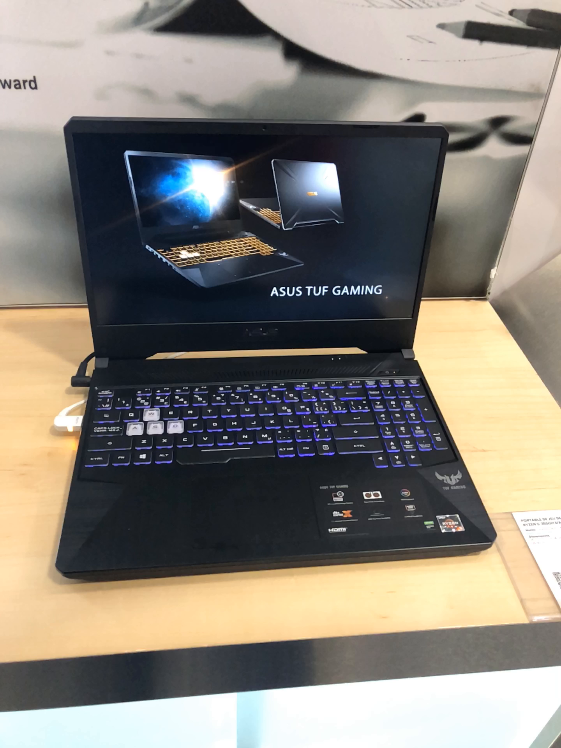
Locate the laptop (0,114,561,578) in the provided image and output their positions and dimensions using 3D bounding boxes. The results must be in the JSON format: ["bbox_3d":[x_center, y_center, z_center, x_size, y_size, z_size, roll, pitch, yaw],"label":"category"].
[{"bbox_3d":[-0.009,-0.046,0.535,0.358,0.245,0.310,-2,40,-7],"label":"laptop"}]
